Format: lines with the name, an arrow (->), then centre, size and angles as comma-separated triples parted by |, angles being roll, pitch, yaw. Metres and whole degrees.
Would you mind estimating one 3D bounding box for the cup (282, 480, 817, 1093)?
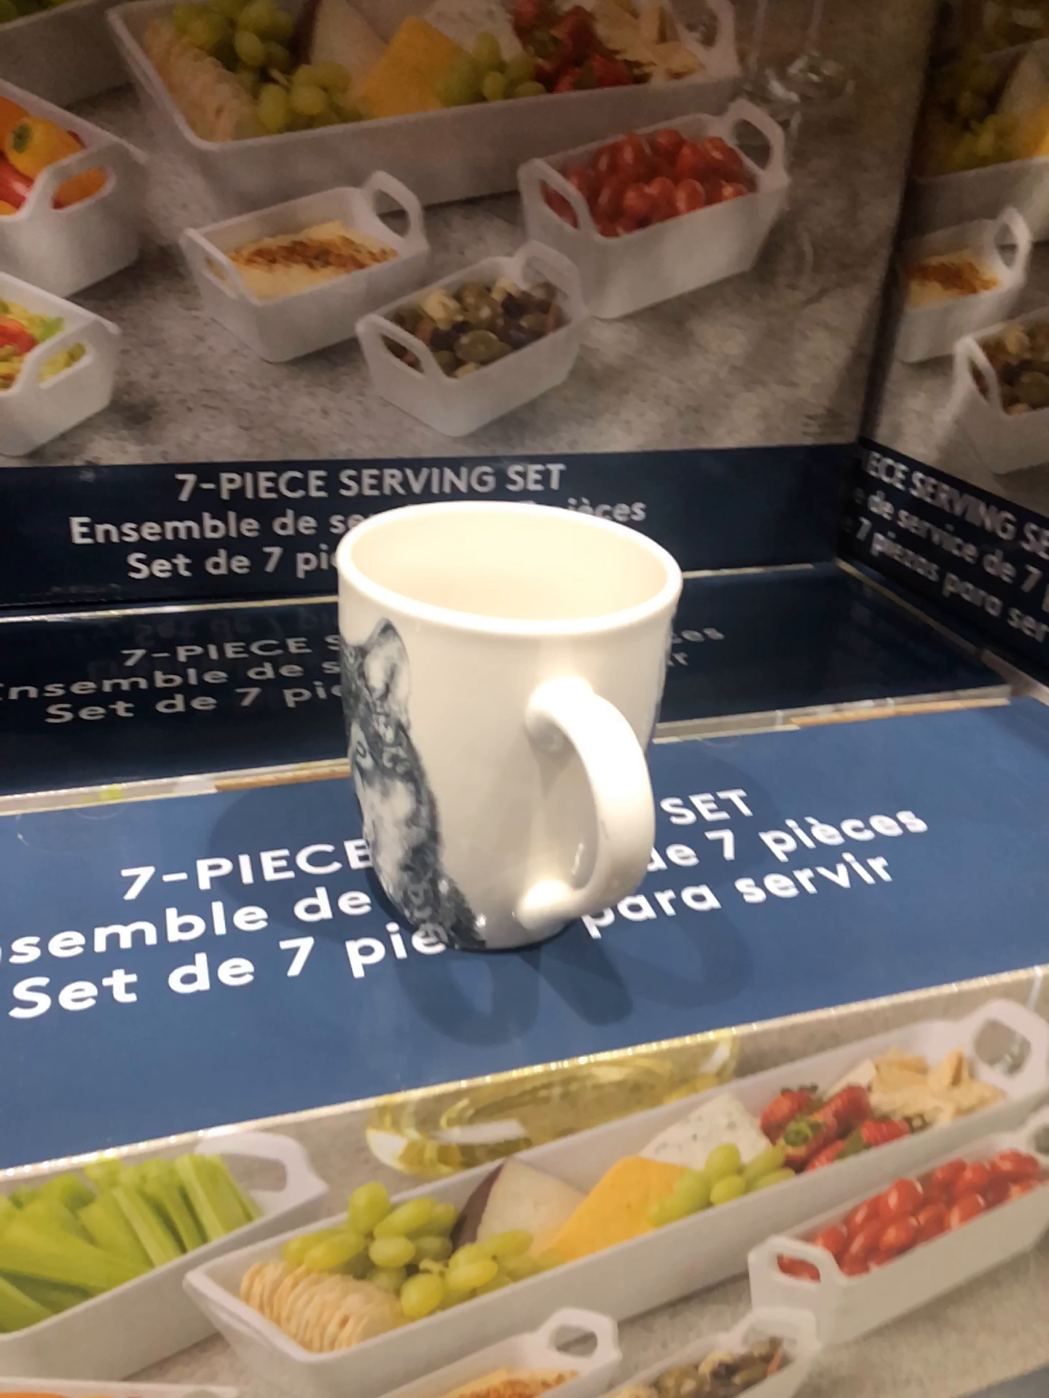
cup -> -0.005, 0.011, 0.310 | 0.093, 0.102, 0.129 | -7, 28, -19
